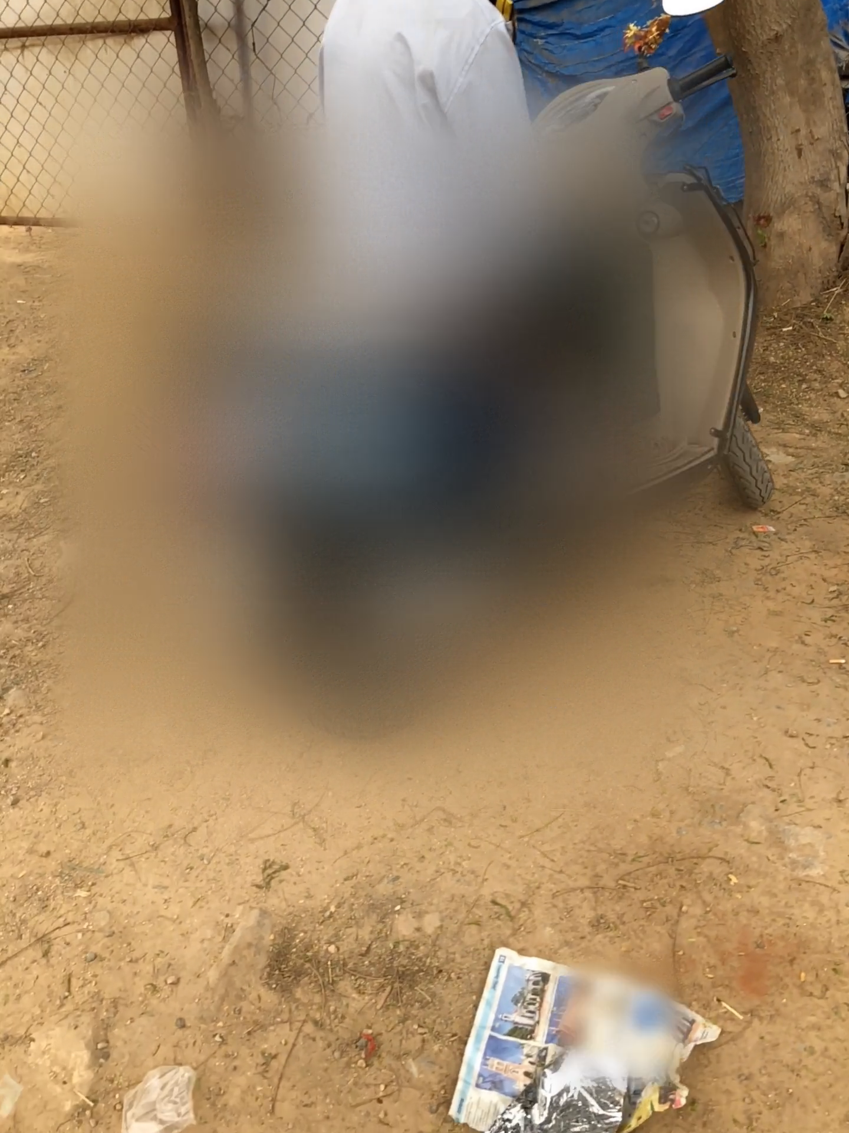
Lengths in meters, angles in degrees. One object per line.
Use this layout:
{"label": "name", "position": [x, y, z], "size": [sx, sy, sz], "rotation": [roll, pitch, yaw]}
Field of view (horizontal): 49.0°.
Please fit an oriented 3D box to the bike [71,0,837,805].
{"label": "bike", "position": [0.103, -0.557, 1.914], "size": [1.347, 1.120, 0.635], "rotation": [-33, 41, -31]}
